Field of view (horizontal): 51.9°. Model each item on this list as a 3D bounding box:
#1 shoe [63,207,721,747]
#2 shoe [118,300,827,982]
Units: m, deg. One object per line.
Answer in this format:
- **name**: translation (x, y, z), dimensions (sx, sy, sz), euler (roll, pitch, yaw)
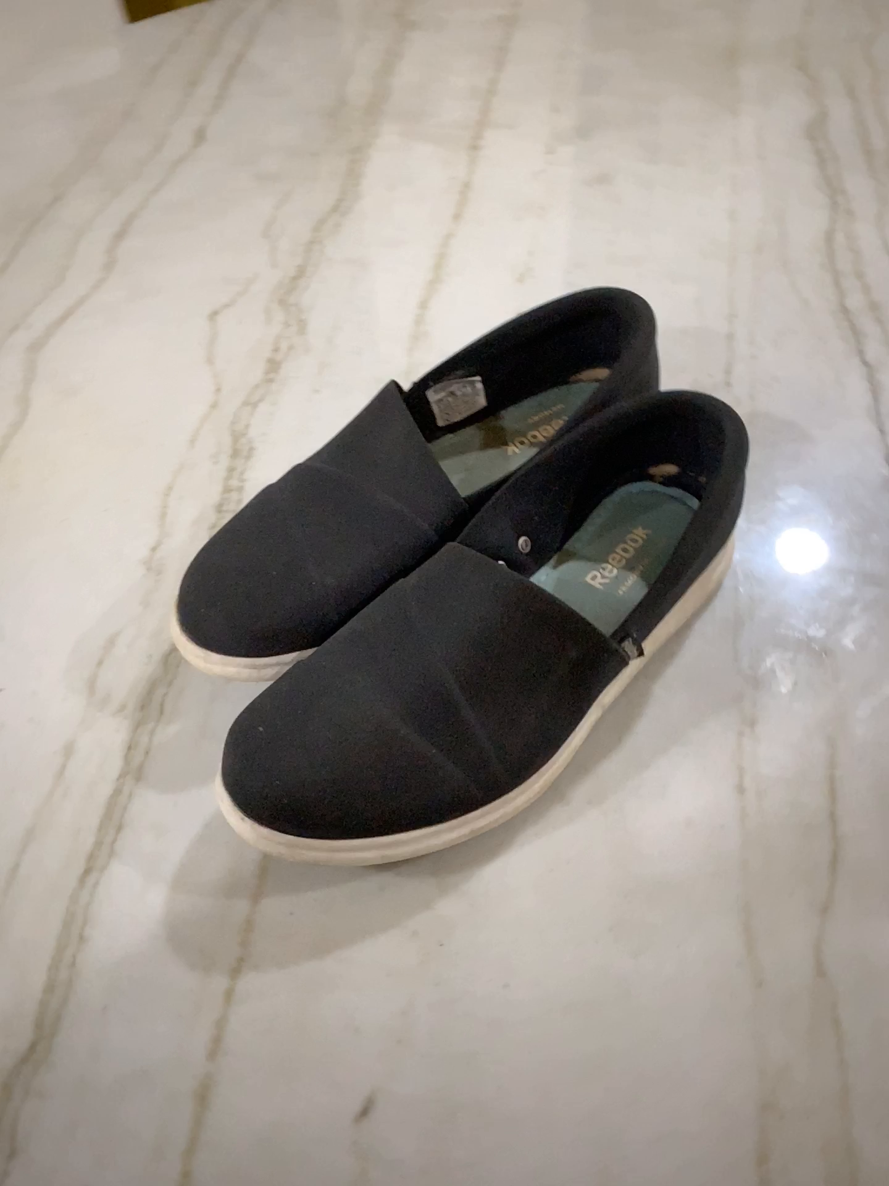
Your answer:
- **shoe**: translation (-0.011, -0.055, 0.363), dimensions (0.230, 0.078, 0.091), euler (-33, 59, -19)
- **shoe**: translation (0.021, 0.004, 0.318), dimensions (0.091, 0.078, 0.230), euler (37, 64, 26)
